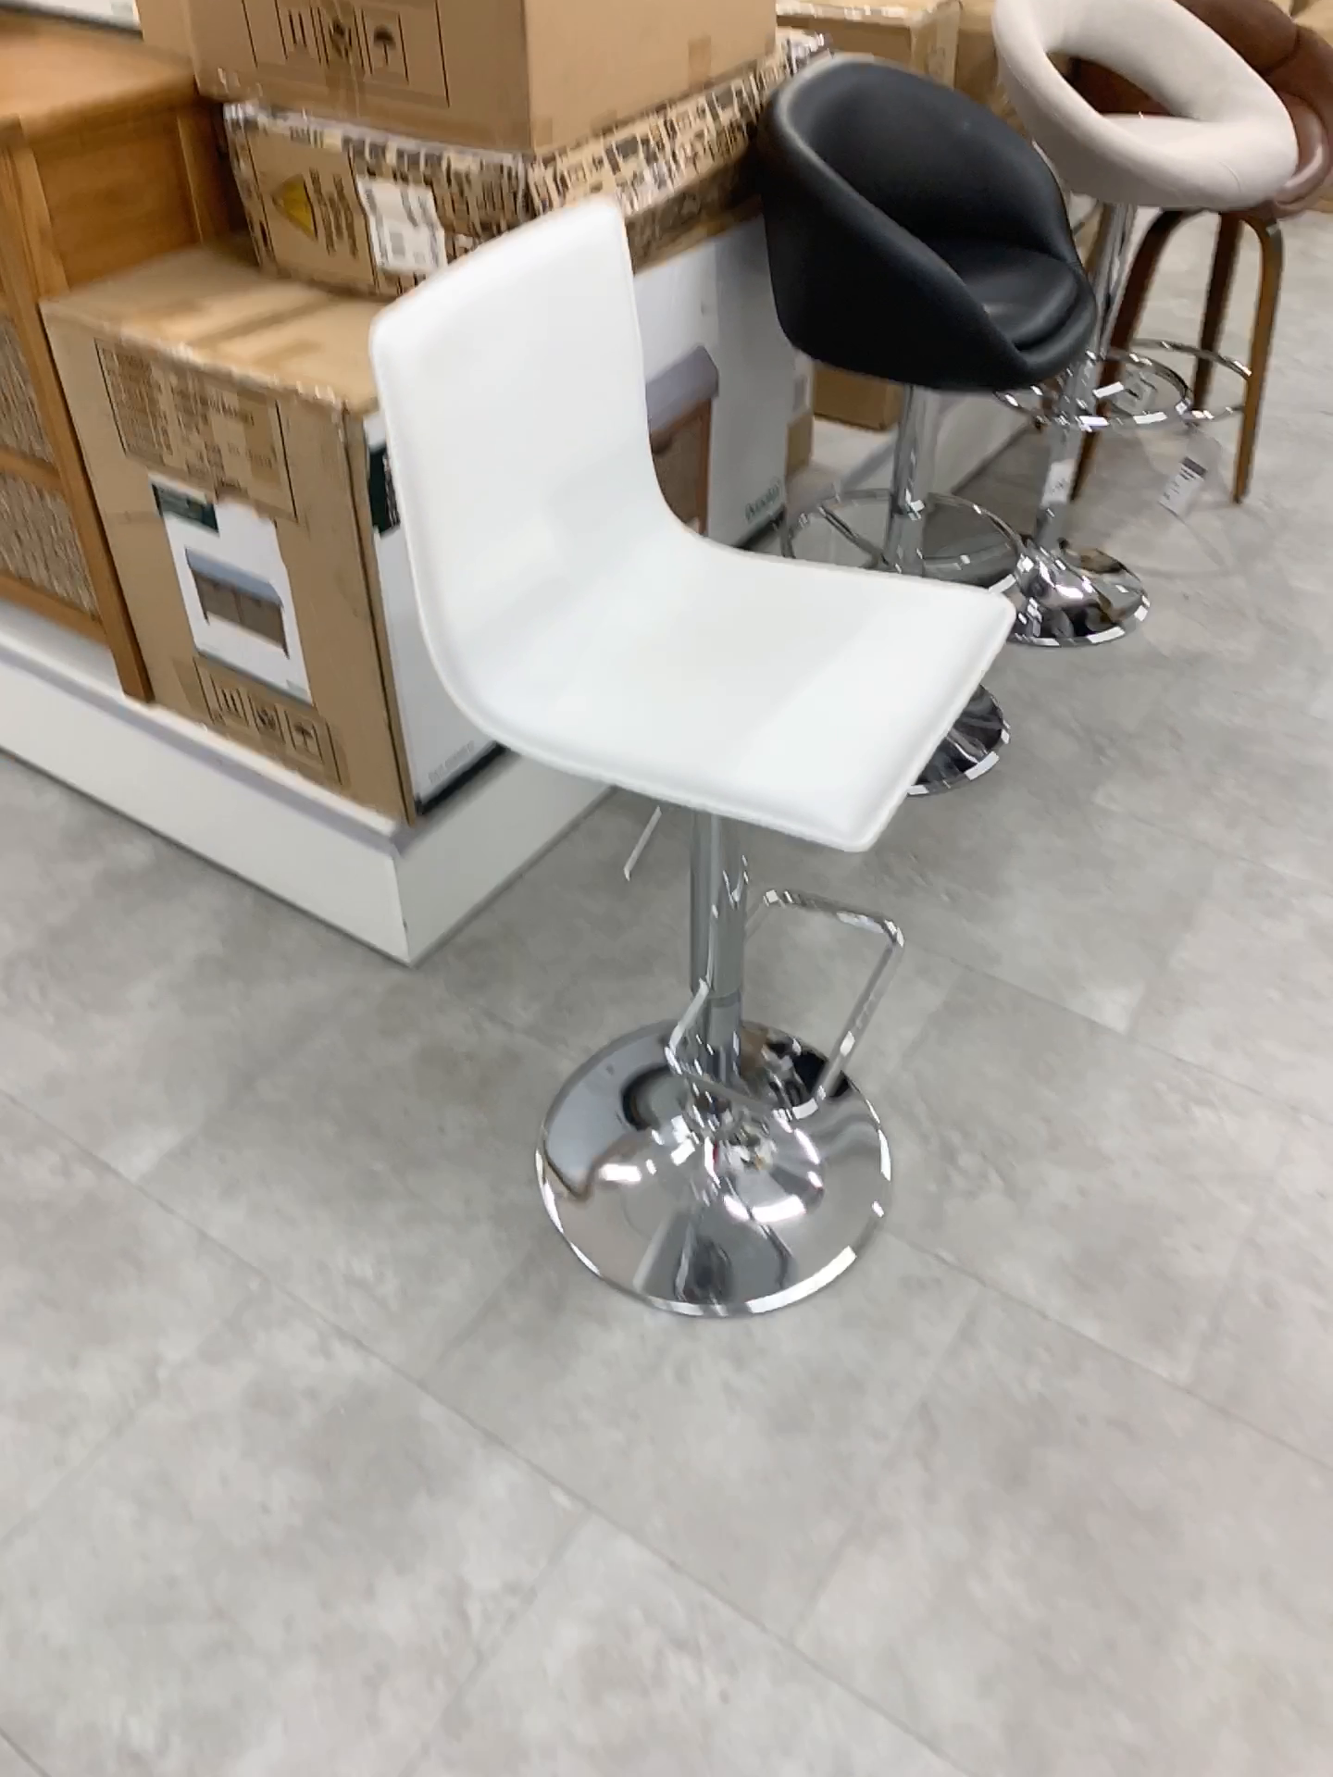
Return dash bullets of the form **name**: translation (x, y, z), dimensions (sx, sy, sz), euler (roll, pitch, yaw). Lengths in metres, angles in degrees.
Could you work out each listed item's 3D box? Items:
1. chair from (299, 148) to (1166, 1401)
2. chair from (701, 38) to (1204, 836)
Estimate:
- **chair**: translation (0.067, -0.059, 1.260), dimensions (0.443, 0.989, 0.462), euler (19, 45, 20)
- **chair**: translation (0.368, -0.630, 1.946), dimensions (0.443, 0.910, 0.472), euler (22, 46, 22)
